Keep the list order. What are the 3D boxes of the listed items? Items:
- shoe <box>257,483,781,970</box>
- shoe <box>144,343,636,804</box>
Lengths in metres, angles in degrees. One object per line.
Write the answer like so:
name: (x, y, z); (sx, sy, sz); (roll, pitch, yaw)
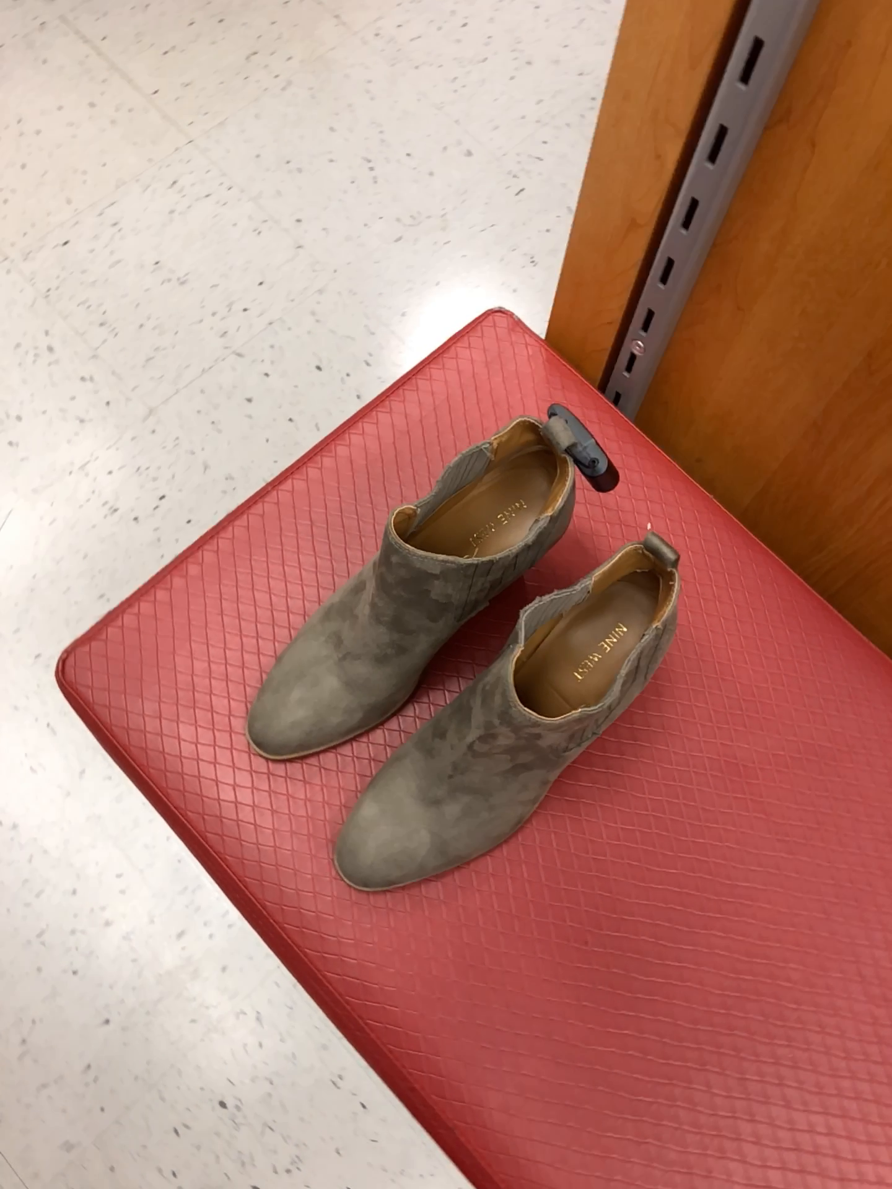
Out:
shoe: (0.037, 0.079, 0.552); (0.250, 0.150, 0.107); (-38, 76, -14)
shoe: (-0.028, -0.005, 0.586); (0.250, 0.160, 0.097); (-38, 76, -14)
